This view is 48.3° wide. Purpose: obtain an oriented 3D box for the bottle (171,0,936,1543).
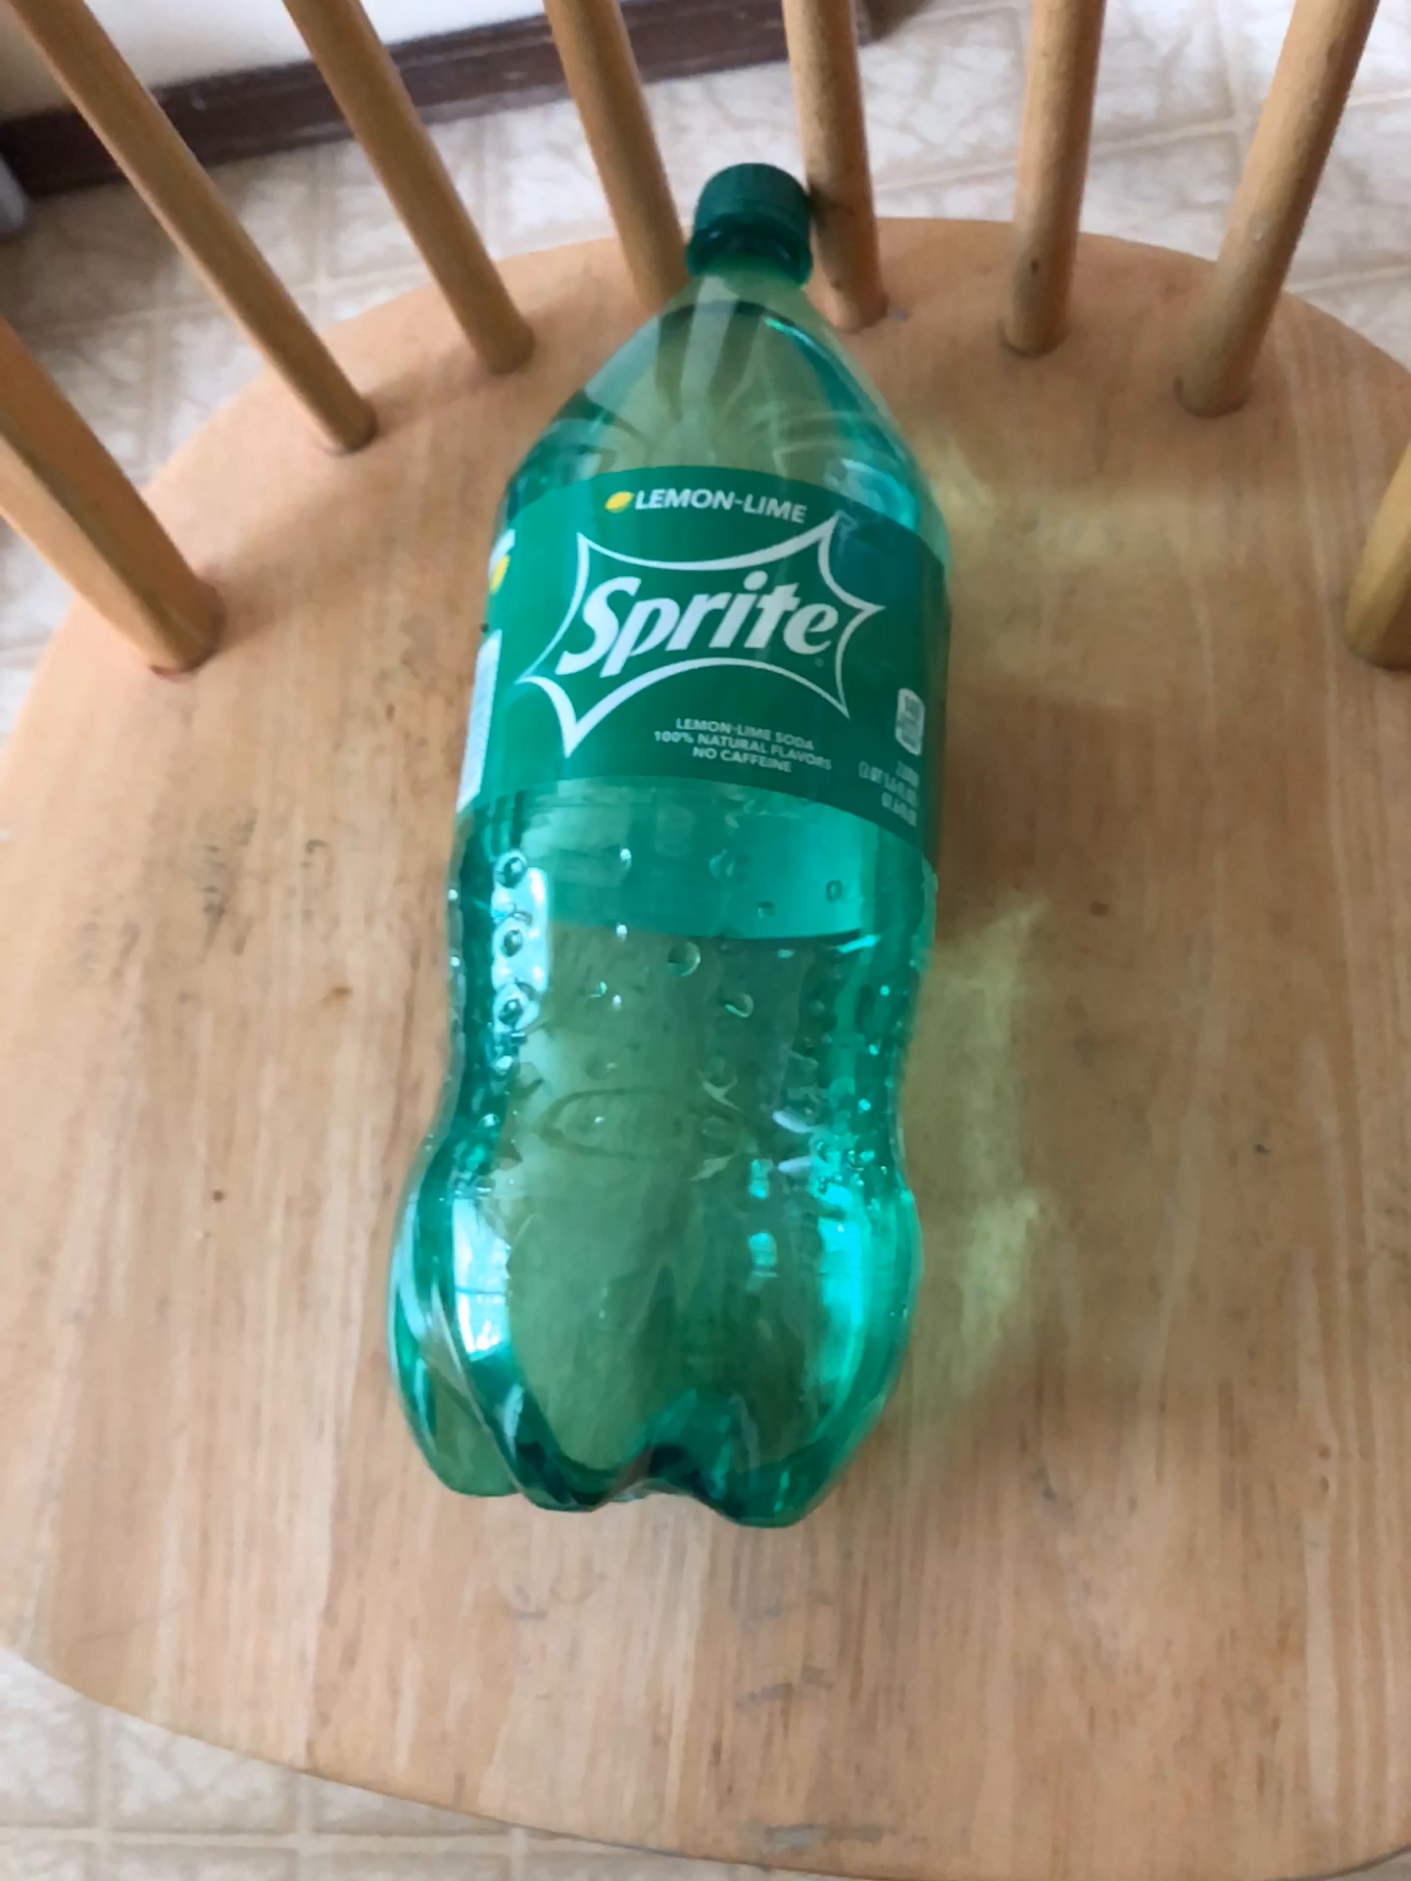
[{"bbox_3d":[-0.016,-0.041,0.332,0.110,0.110,0.300,3,74,2],"label":"bottle"}]
